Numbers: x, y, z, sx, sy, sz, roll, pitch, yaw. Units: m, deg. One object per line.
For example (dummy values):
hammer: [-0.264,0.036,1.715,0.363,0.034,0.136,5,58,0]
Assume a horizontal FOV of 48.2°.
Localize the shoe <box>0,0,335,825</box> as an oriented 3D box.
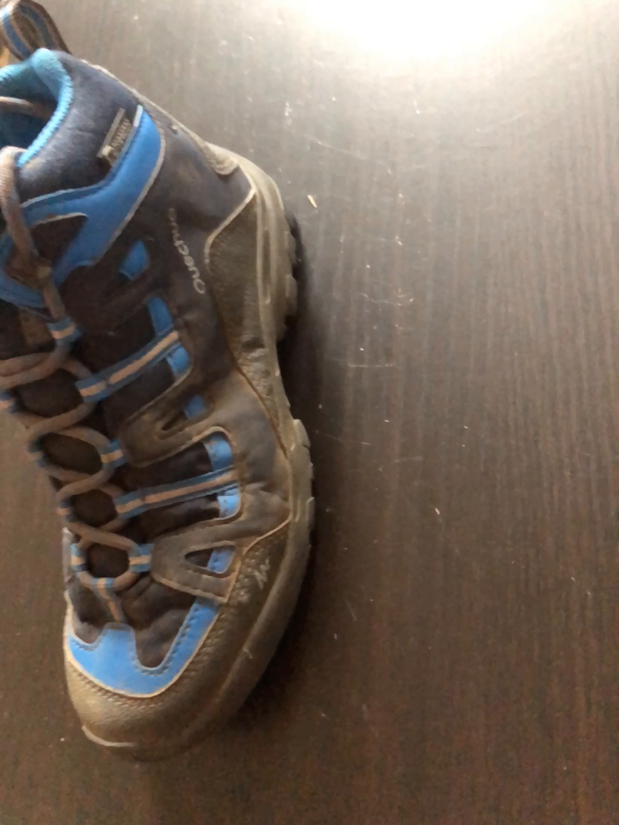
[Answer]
shoe: [-0.070,-0.001,0.245,0.100,0.120,0.250,-4,76,32]
